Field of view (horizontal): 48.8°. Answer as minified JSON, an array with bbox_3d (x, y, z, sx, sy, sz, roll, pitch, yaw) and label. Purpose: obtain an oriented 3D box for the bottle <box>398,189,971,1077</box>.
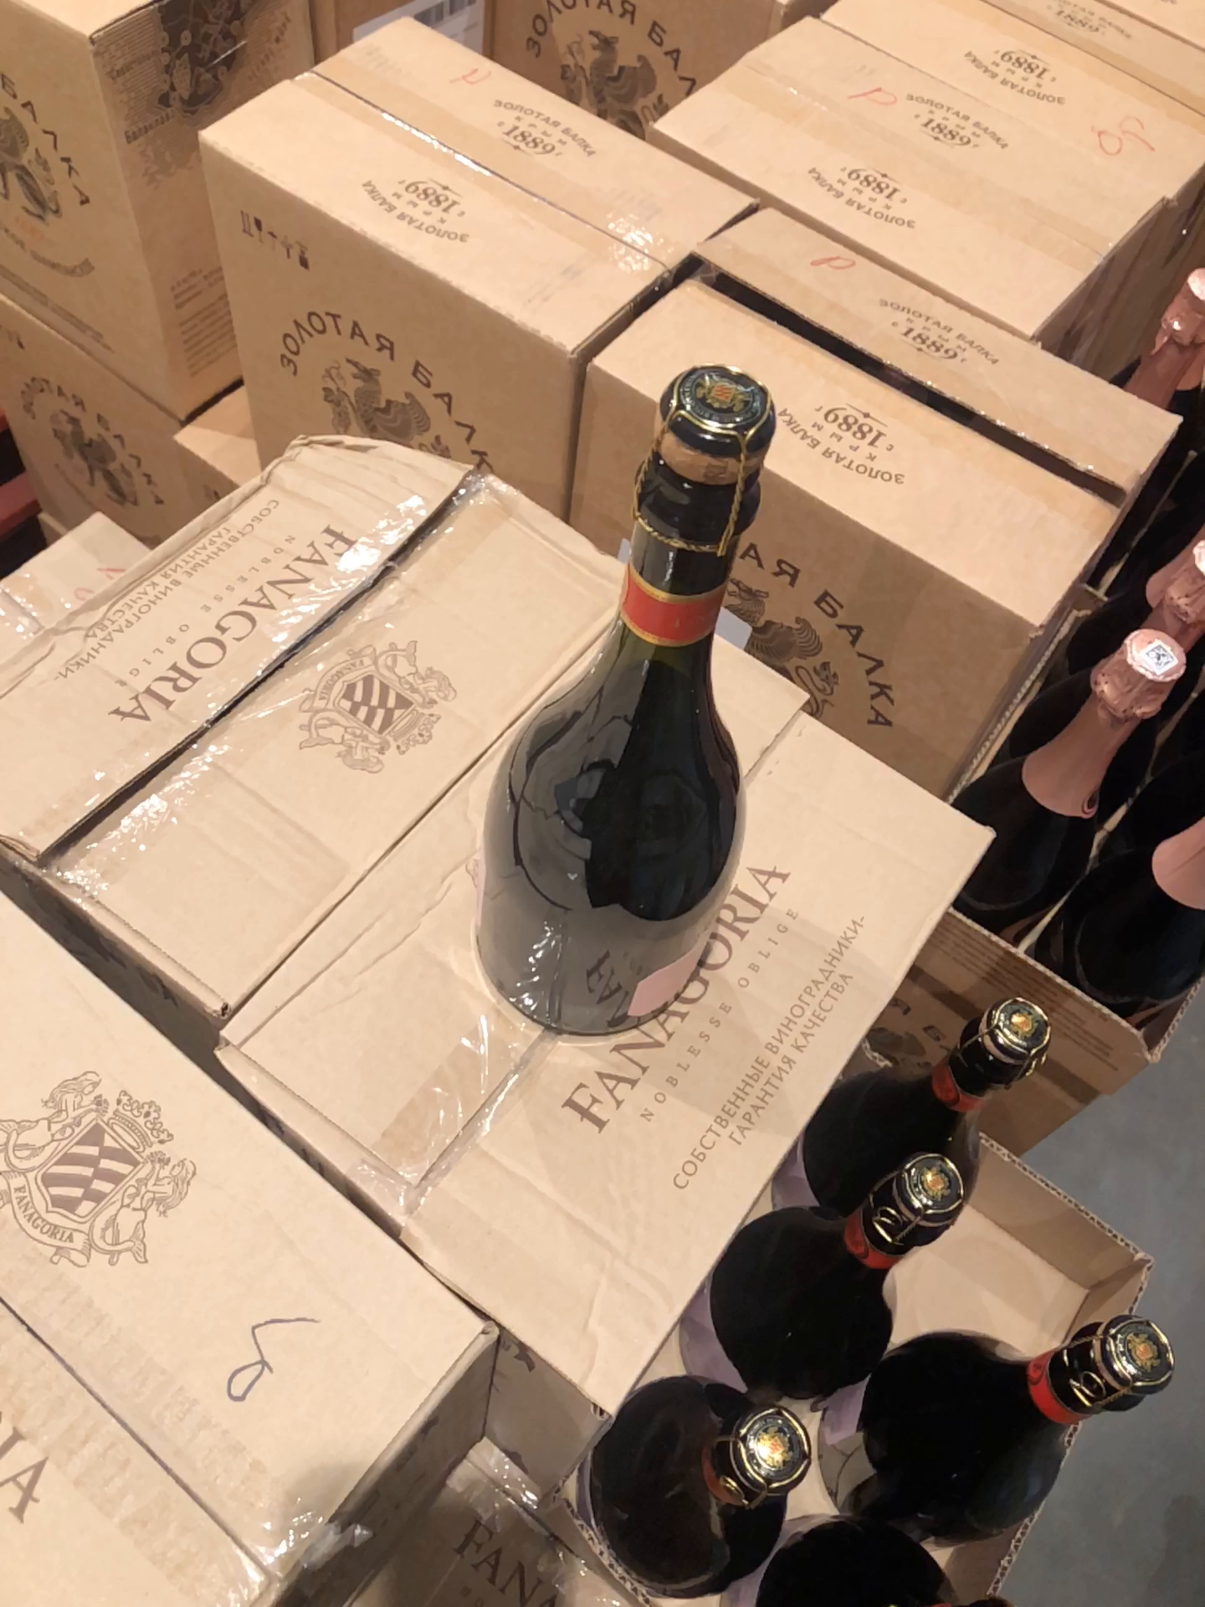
[{"bbox_3d":[0.010,-0.028,0.452,0.100,0.298,0.110,30,61,12],"label":"bottle"}]
